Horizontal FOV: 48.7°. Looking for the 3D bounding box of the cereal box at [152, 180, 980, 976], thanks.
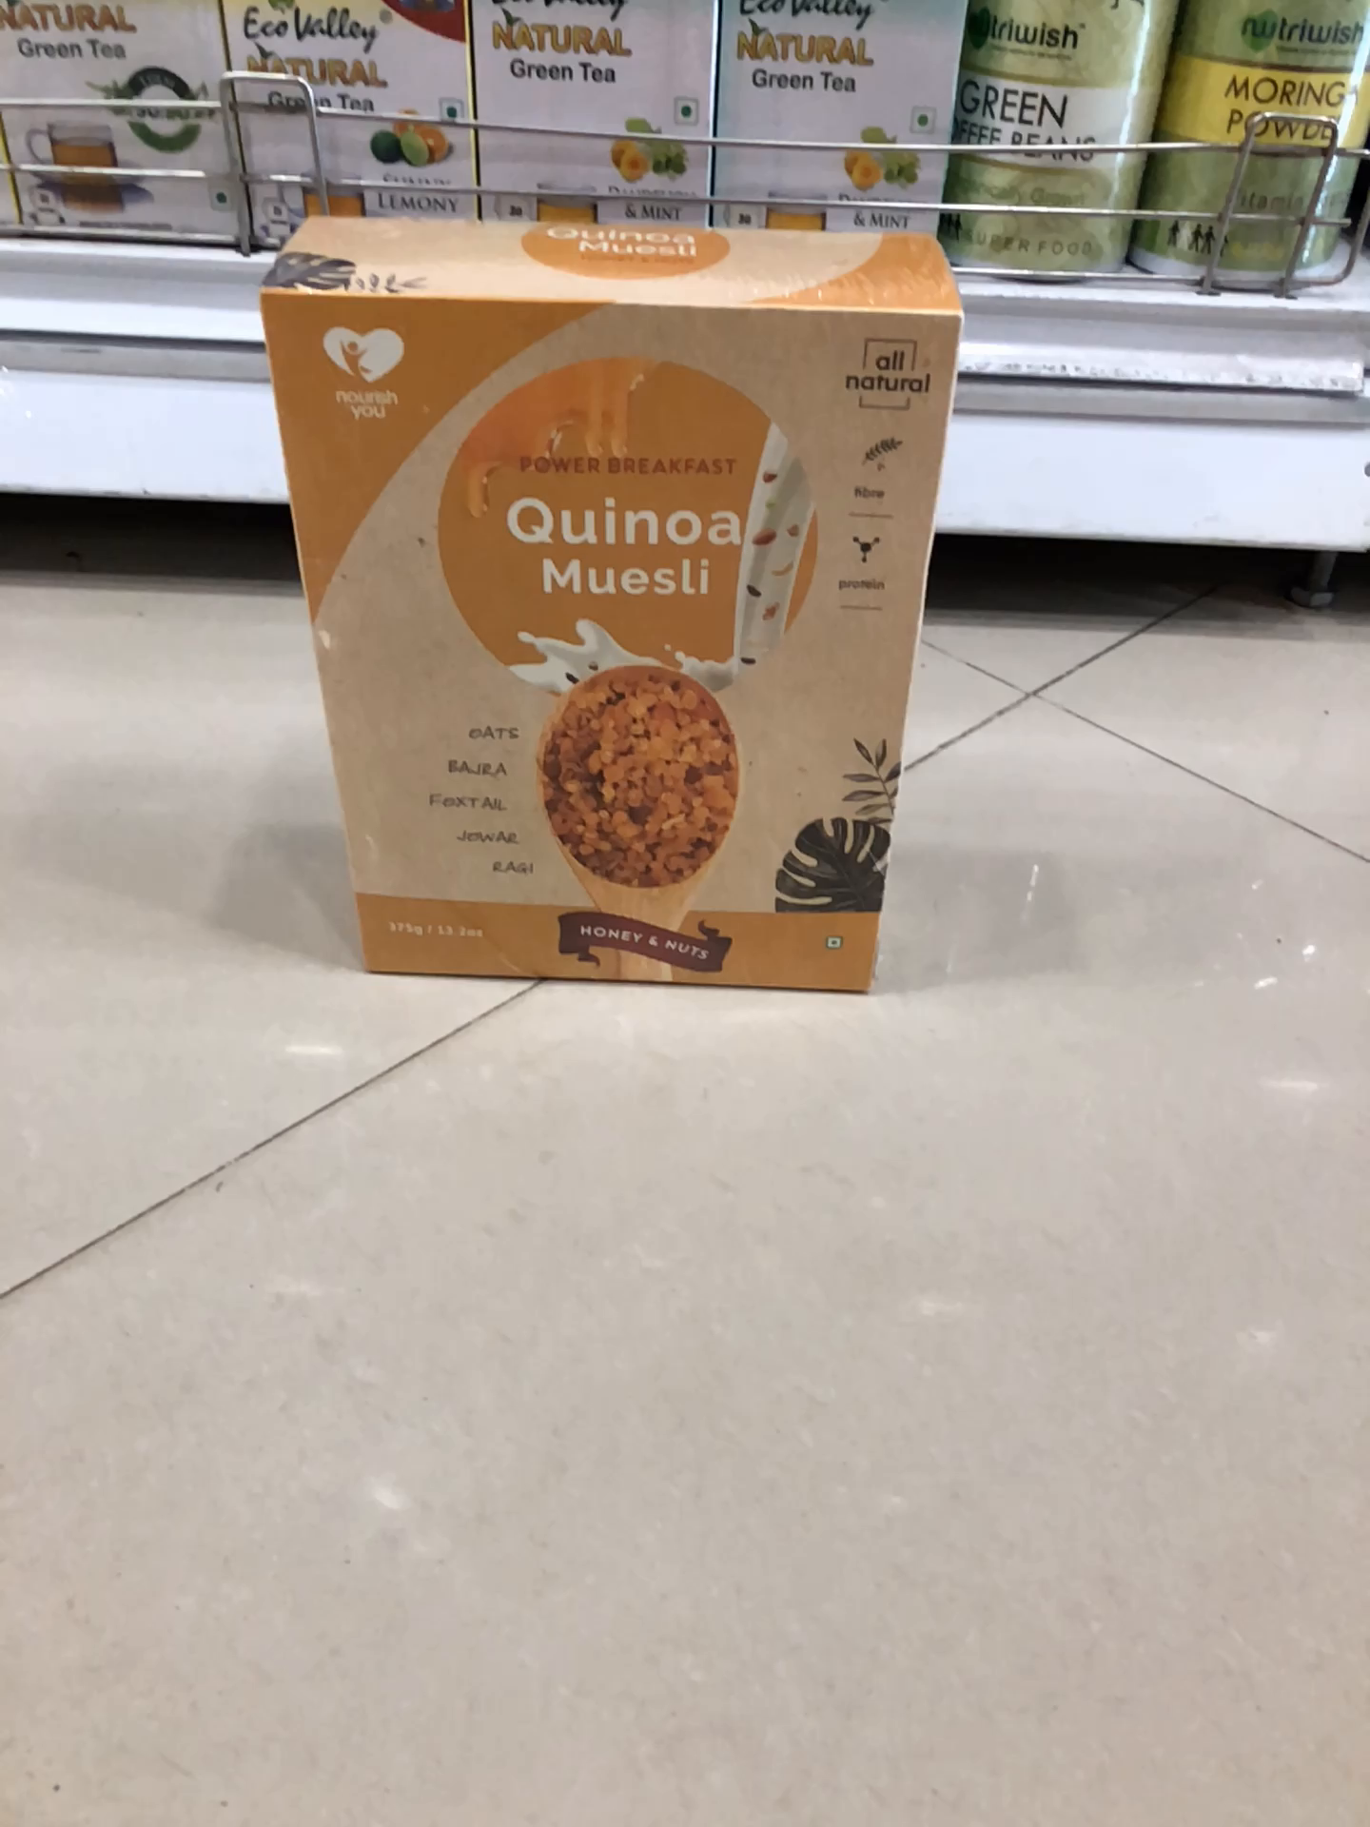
[{"bbox_3d":[-0.024,-0.077,0.398,0.170,0.199,0.060,0,41,1],"label":"cereal box"}]
